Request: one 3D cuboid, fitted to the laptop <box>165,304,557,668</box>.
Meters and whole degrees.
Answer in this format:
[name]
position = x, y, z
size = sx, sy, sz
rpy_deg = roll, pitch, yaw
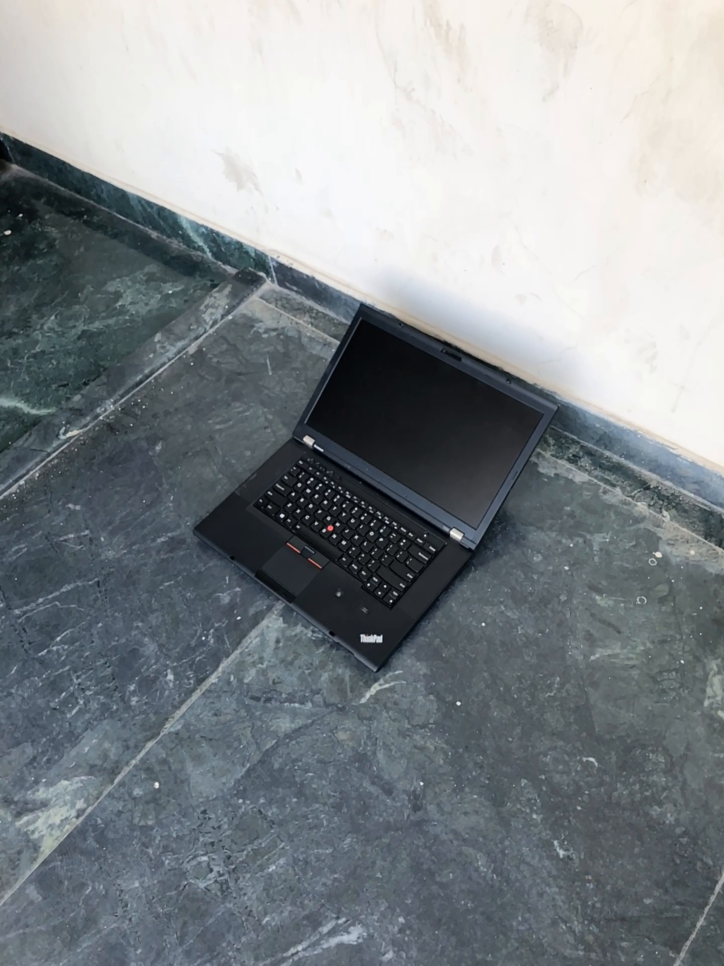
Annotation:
[laptop]
position = 0.006, -0.017, 1.021
size = 0.311, 0.115, 0.376
rpy_deg = 32, 64, 25
